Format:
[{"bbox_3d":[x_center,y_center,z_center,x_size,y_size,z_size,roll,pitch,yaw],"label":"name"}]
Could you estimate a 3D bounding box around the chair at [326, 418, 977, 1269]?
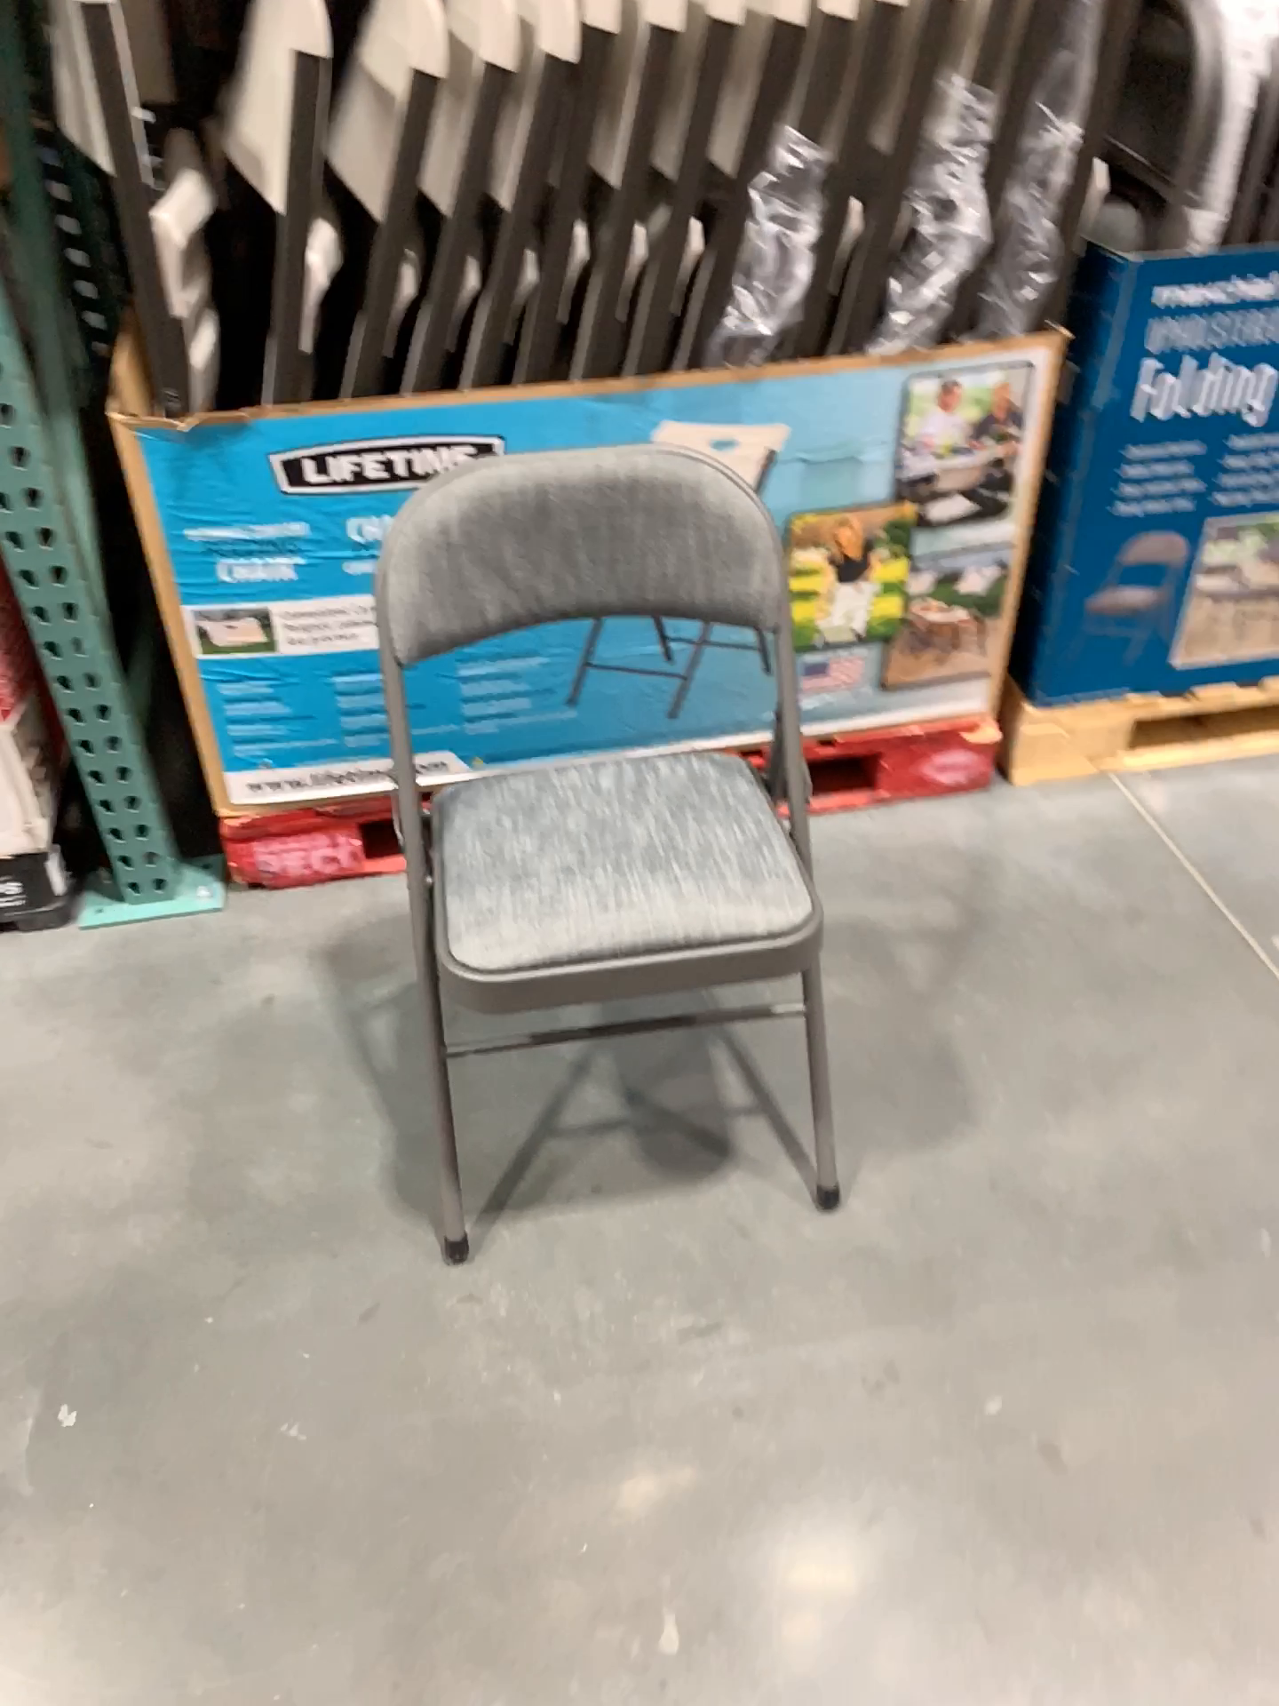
[{"bbox_3d":[-0.022,-0.012,1.390,0.494,0.688,0.505,-6,40,-7],"label":"chair"}]
